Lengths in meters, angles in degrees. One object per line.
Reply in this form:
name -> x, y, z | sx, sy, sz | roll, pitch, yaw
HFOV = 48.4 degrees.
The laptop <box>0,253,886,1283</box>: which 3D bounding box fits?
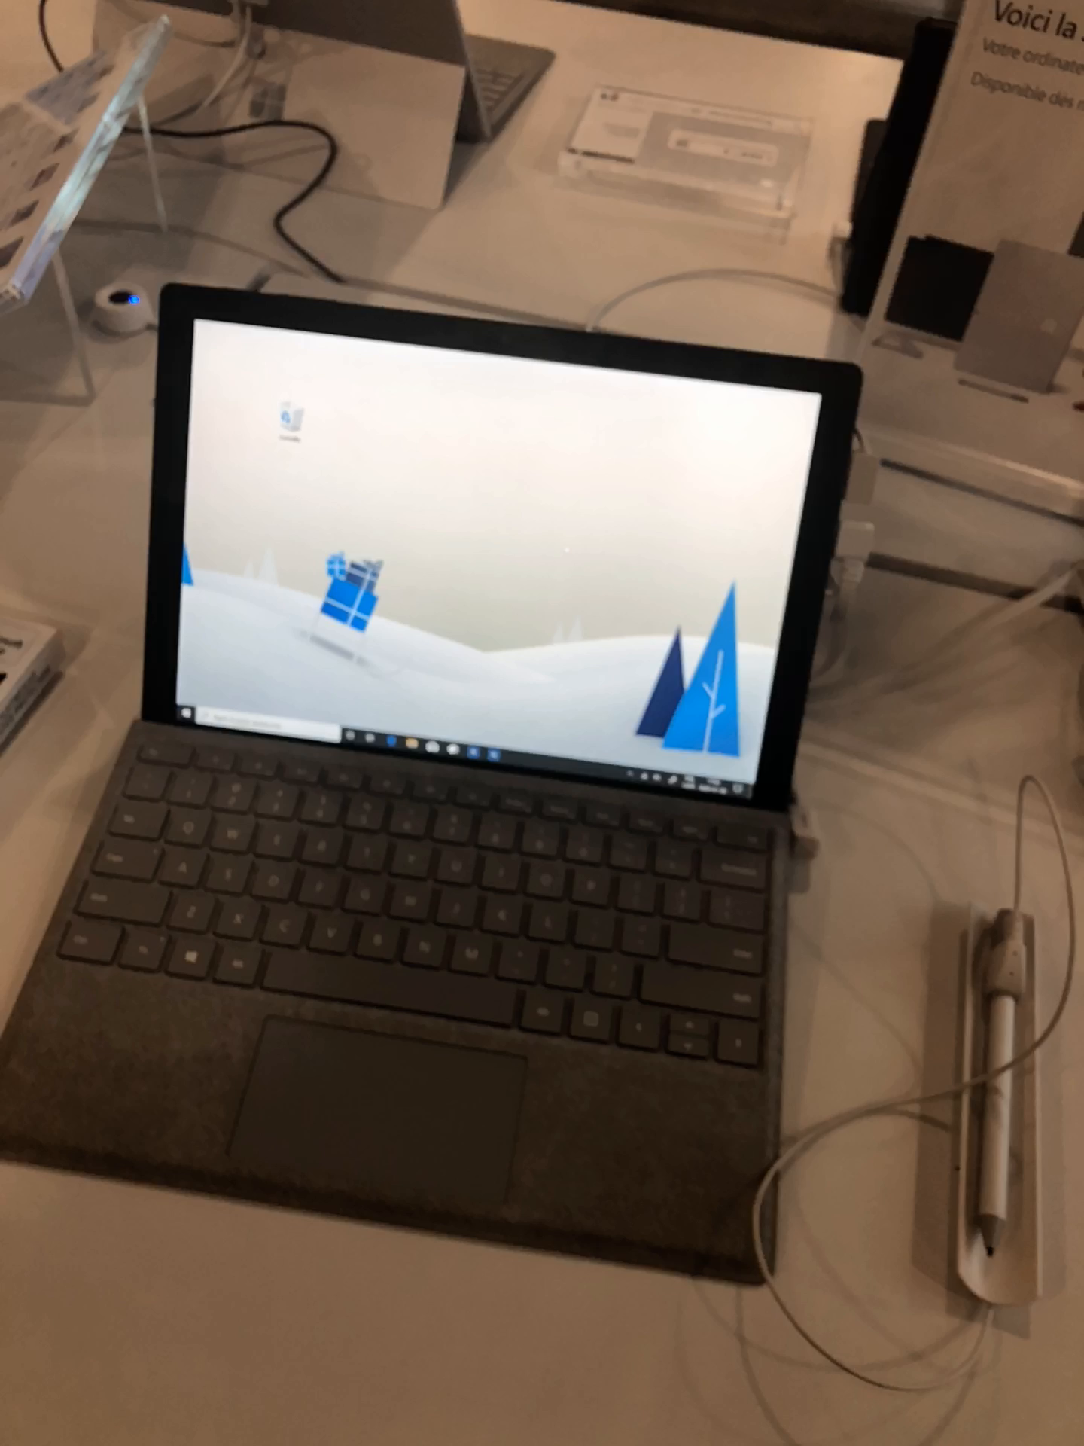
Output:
laptop -> -0.039, 0.001, 0.456 | 0.285, 0.150, 0.308 | 8, 53, 2
